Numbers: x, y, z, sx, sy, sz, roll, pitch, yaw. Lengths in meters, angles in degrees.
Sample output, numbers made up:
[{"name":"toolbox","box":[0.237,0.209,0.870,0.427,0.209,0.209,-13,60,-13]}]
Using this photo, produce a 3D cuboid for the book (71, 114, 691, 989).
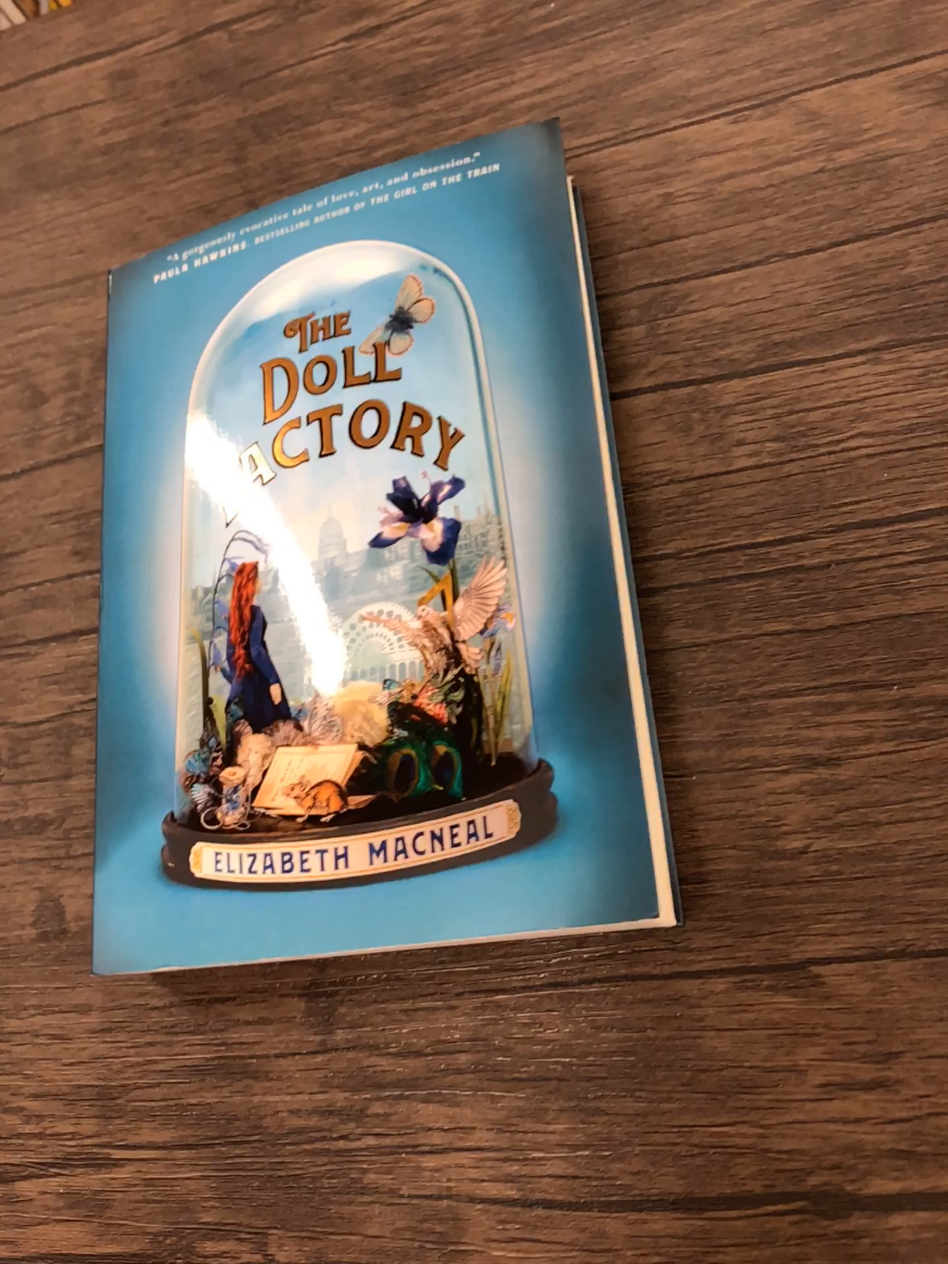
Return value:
[{"name":"book","box":[-0.036,-0.023,0.314,0.160,0.040,0.230,-10,72,15]}]
